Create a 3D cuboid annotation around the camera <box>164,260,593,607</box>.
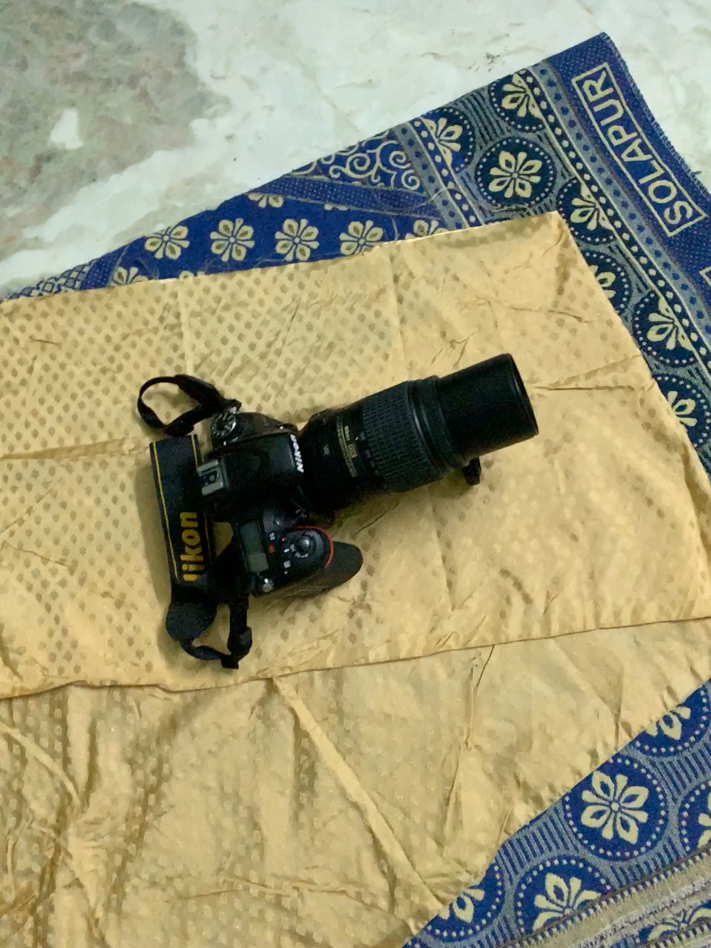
[{"bbox_3d":[0.027,-0.007,0.518,0.240,0.180,0.140,-17,73,14],"label":"camera"}]
